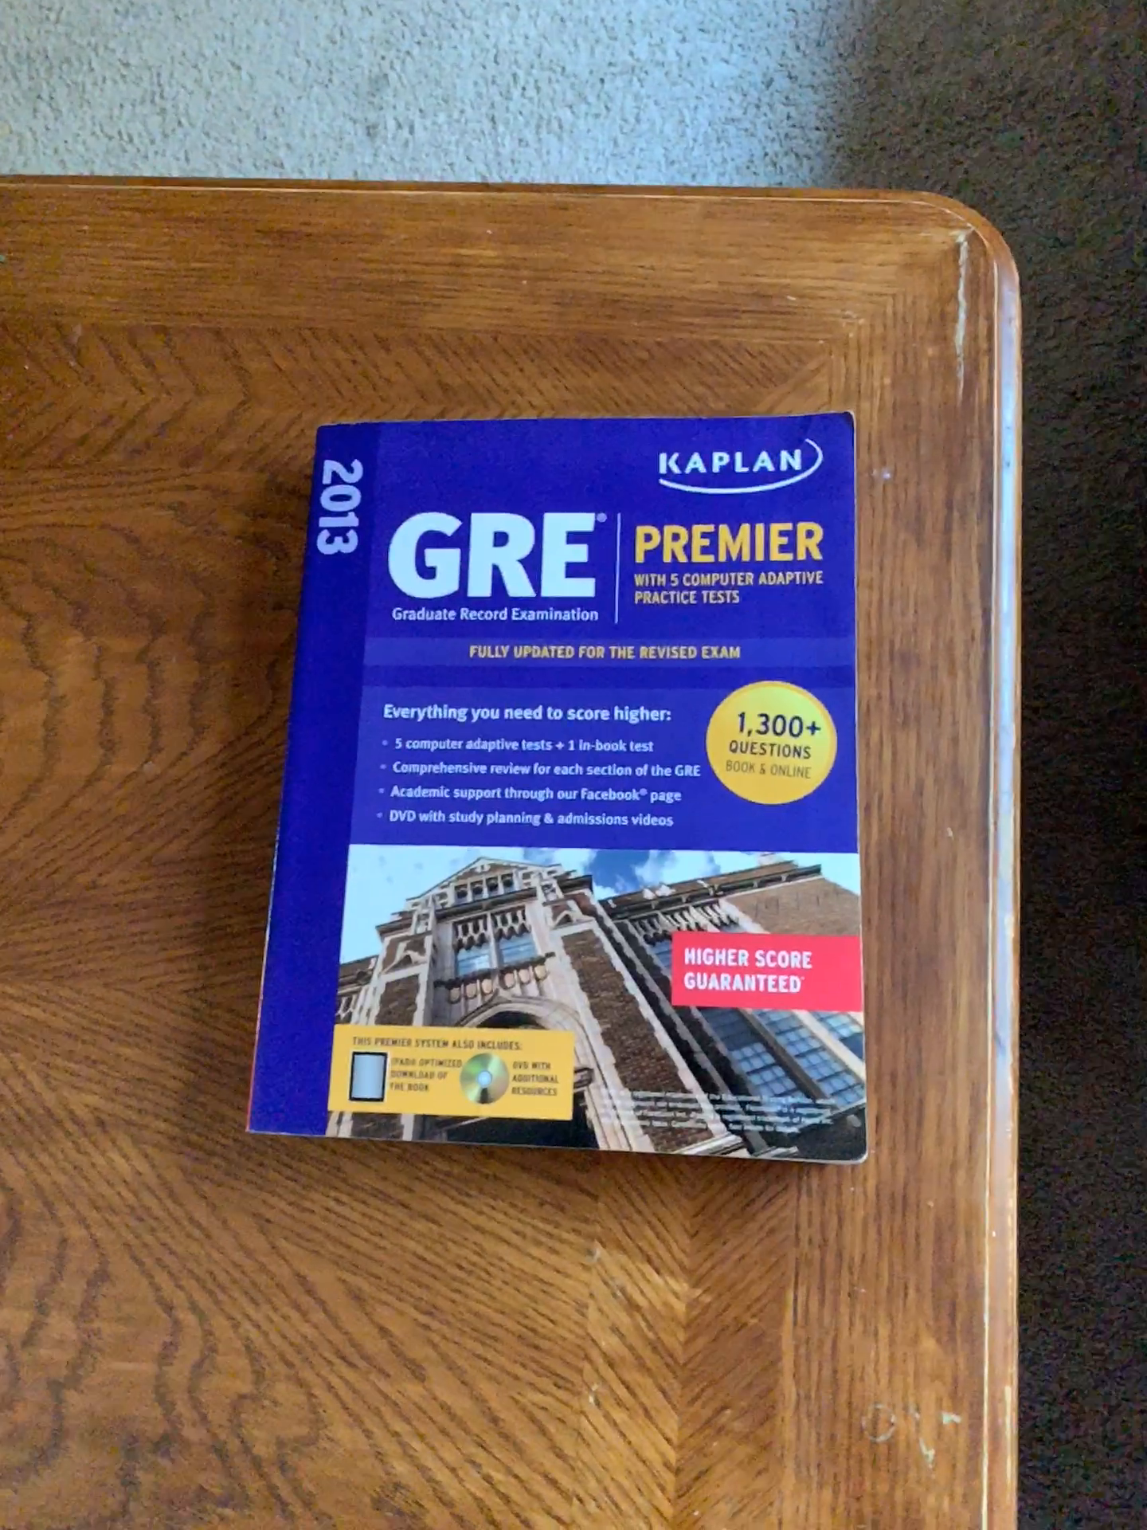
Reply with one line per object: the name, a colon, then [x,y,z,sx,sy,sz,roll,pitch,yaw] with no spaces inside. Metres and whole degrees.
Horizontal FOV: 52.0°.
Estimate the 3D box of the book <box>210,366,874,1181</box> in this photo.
book: [-0.005,-0.004,0.448,0.220,0.060,0.290,1,77,6]
